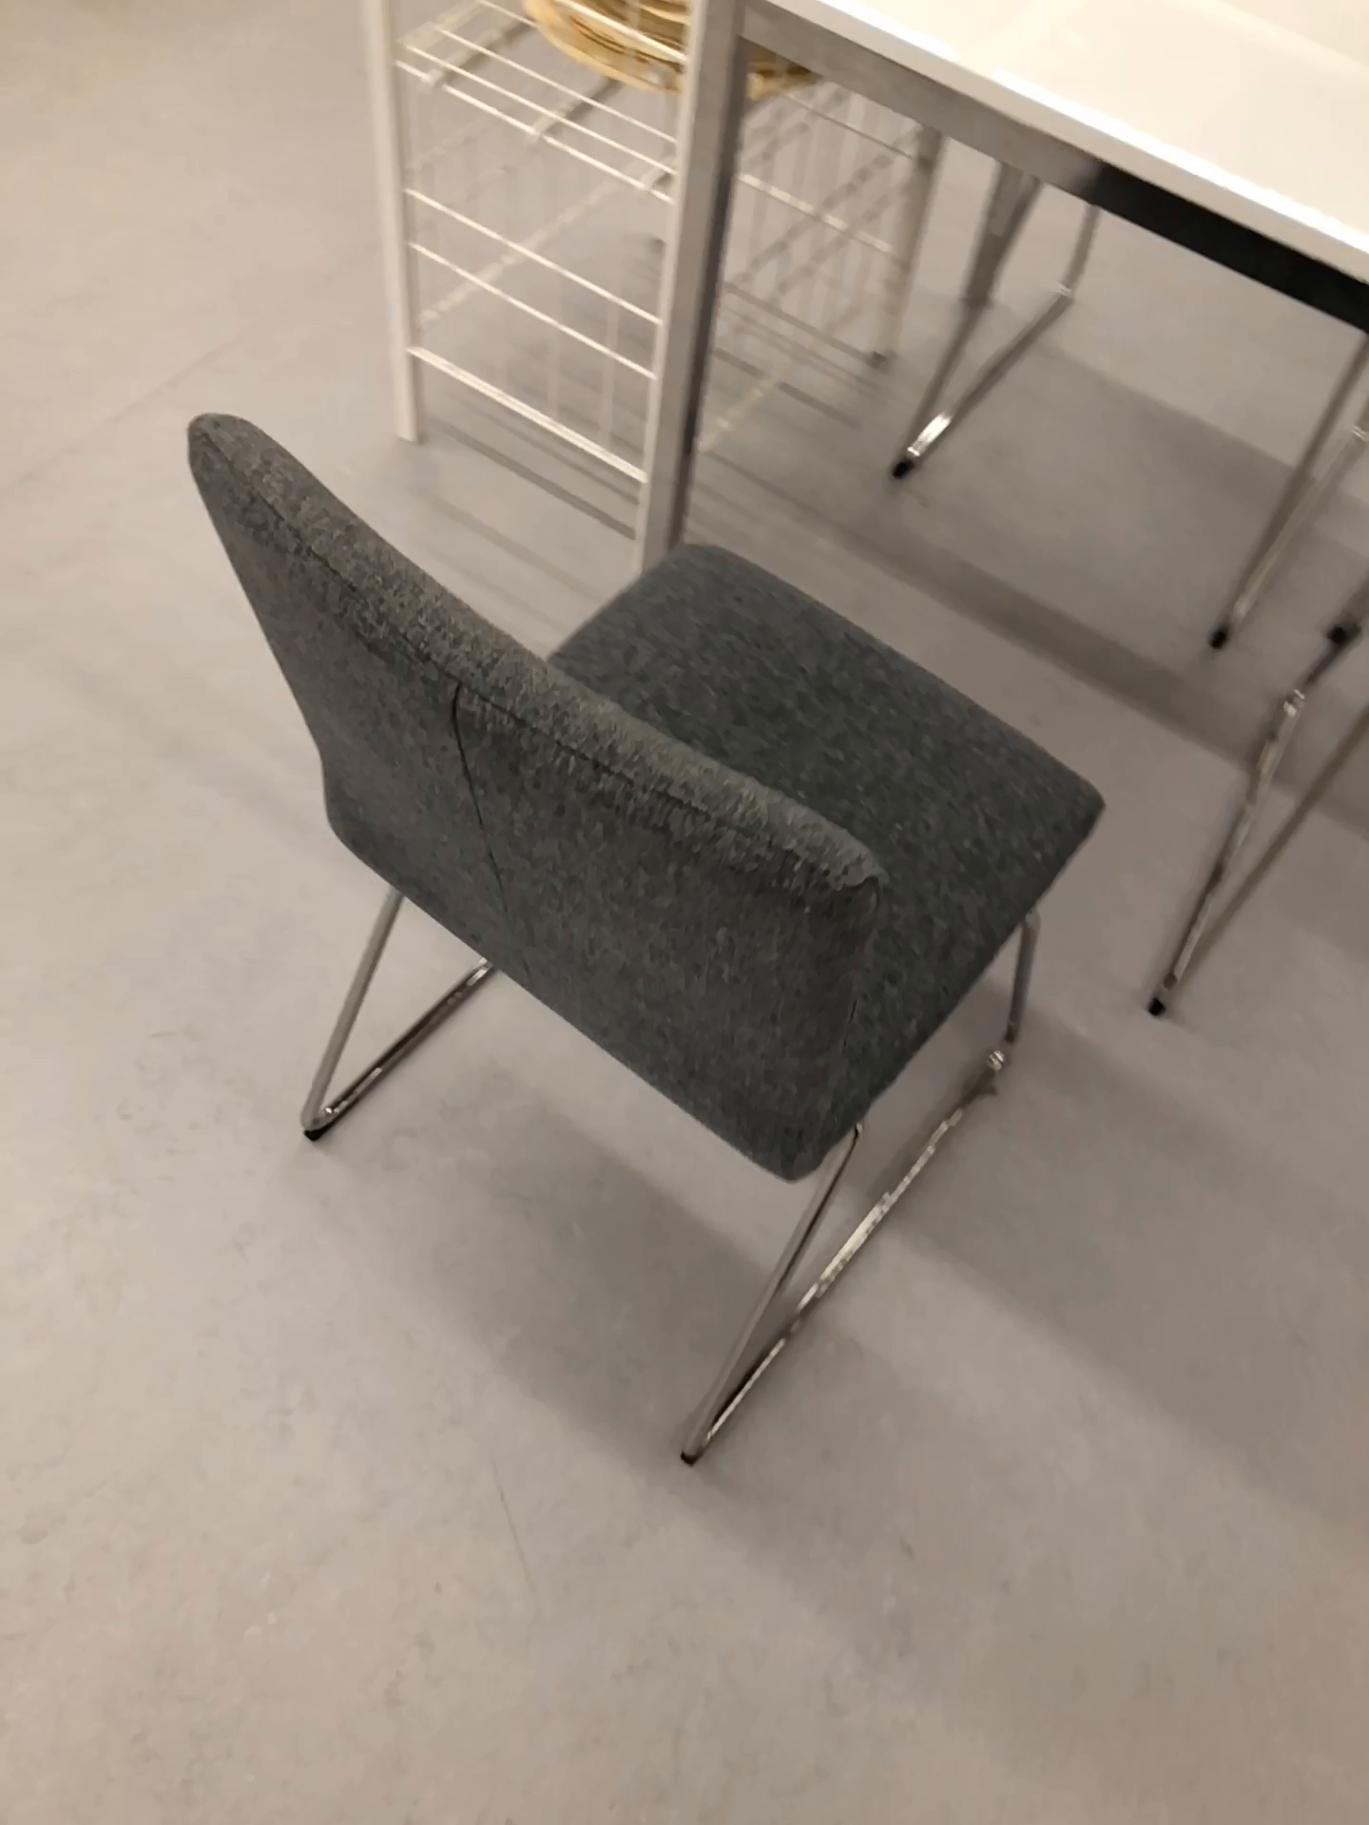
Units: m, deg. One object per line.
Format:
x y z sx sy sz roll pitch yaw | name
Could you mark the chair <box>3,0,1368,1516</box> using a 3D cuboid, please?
0.026 -0.047 1.111 0.511 0.836 0.592 36 61 15 | chair
